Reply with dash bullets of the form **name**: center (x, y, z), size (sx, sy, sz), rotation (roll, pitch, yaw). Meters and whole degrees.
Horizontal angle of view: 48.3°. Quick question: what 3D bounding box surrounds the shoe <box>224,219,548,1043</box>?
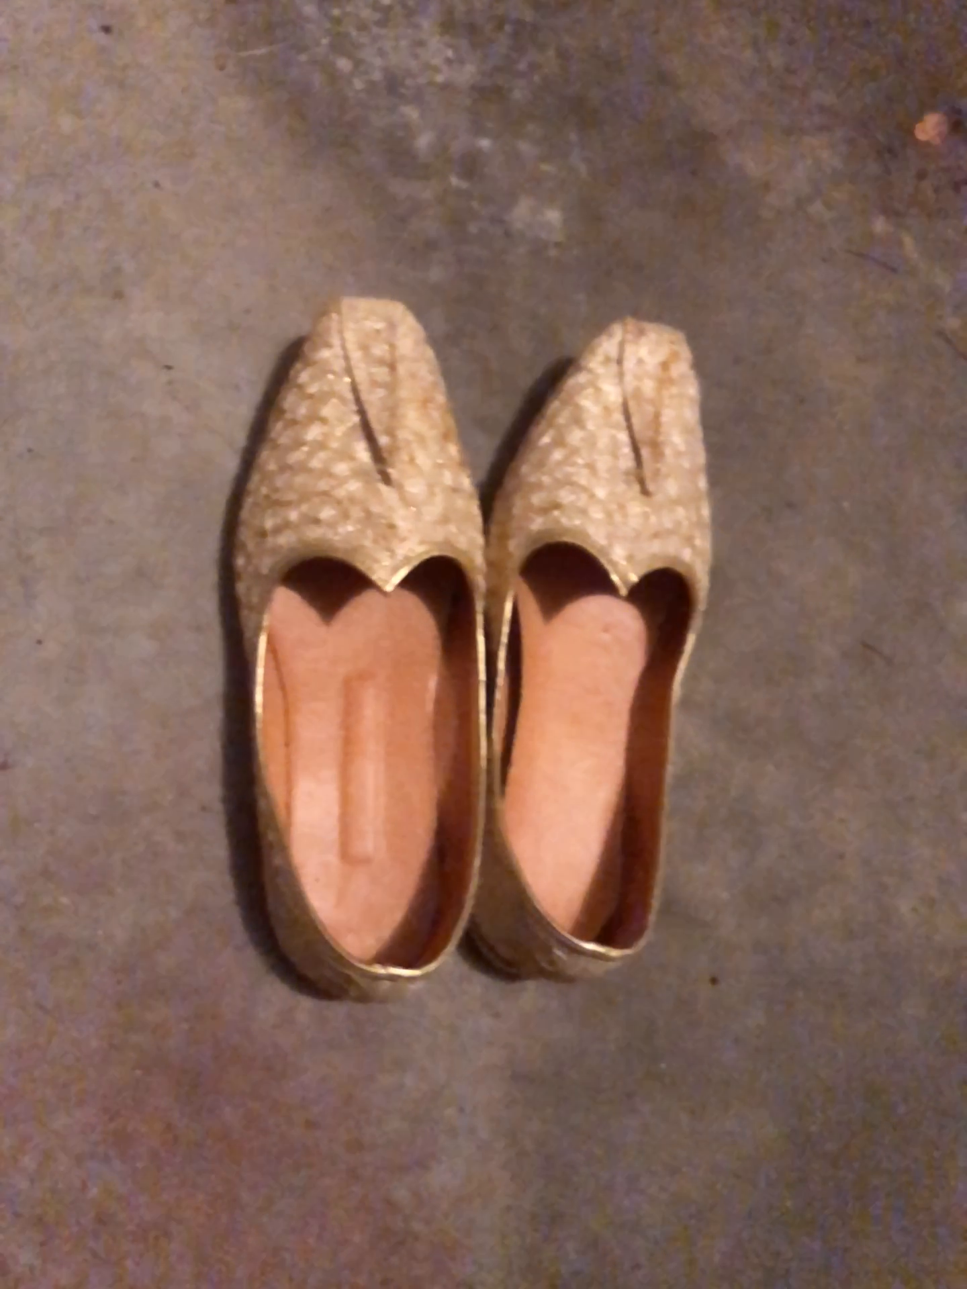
- **shoe**: center (-0.040, -0.006, 0.401), size (0.104, 0.073, 0.275), rotation (1, 80, -14)

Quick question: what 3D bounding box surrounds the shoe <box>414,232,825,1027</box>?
- **shoe**: center (0.054, -0.006, 0.423), size (0.104, 0.073, 0.275), rotation (12, 78, -12)
